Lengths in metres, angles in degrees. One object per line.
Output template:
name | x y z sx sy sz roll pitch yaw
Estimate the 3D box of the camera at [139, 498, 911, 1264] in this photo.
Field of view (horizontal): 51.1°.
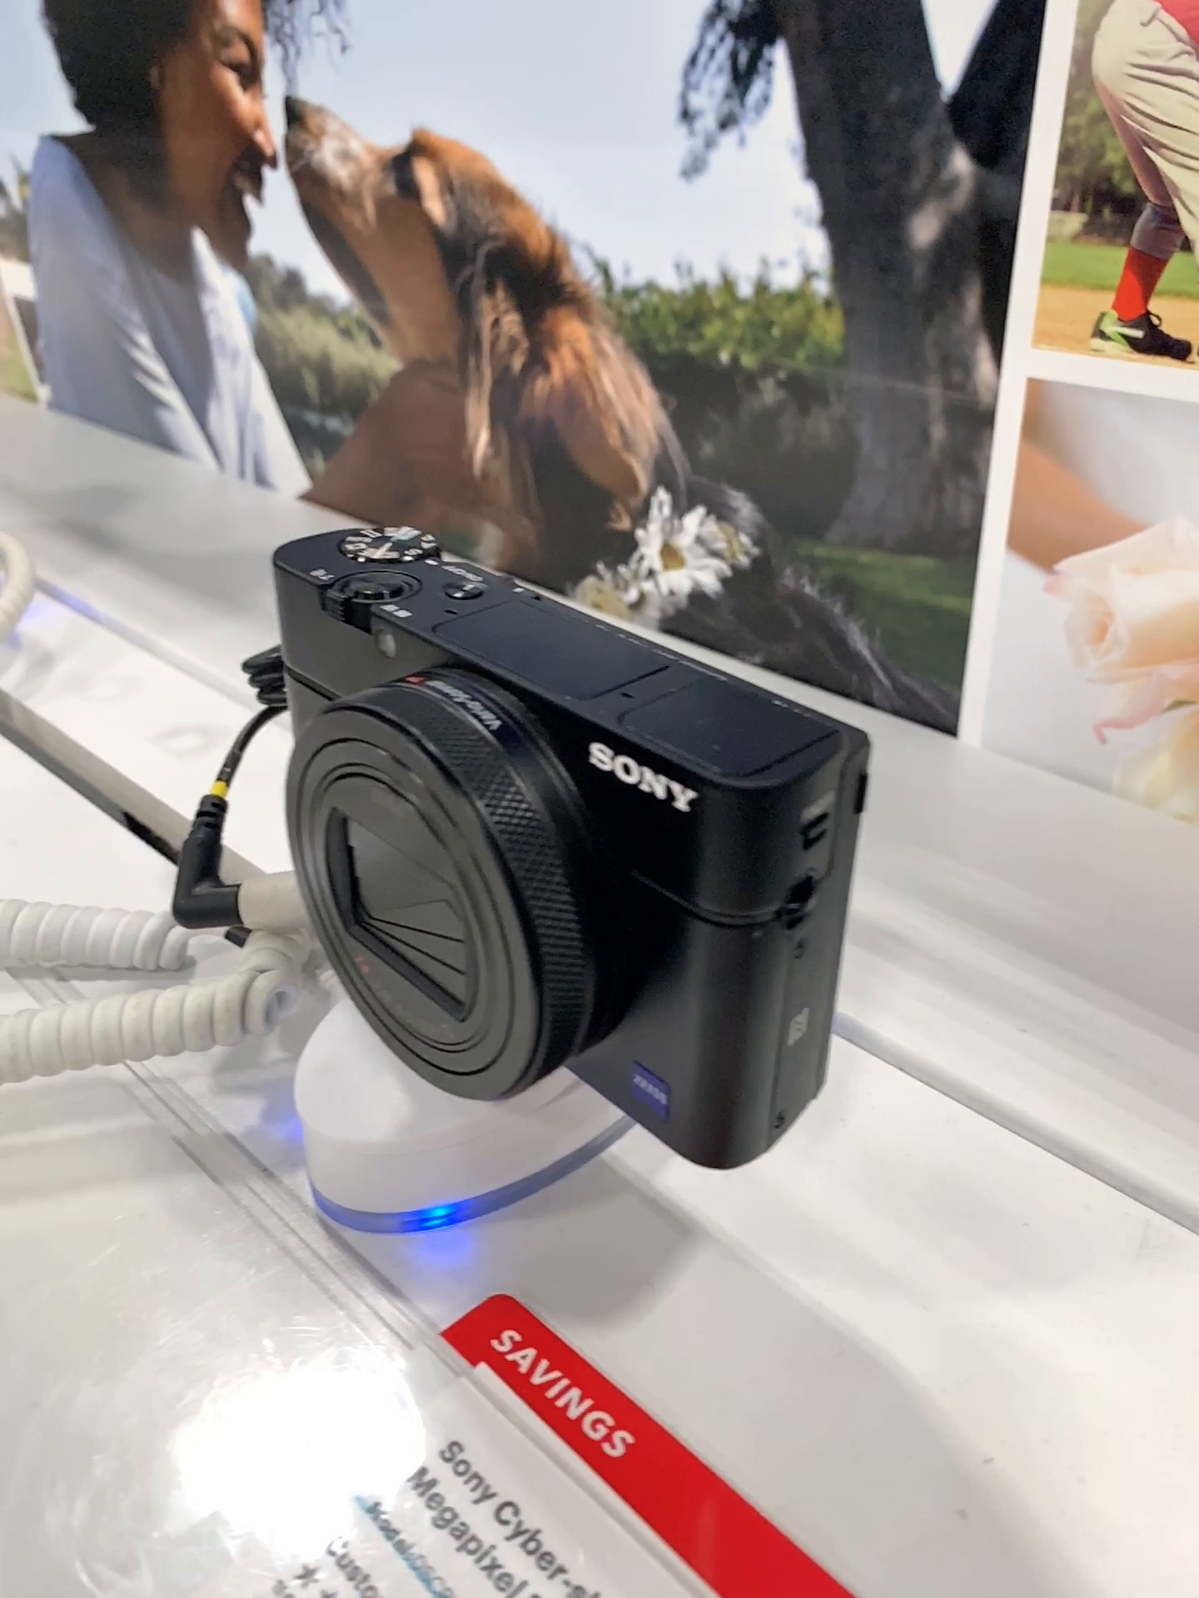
camera | -0.017 0.002 0.179 0.043 0.060 0.105 -24 38 -38
